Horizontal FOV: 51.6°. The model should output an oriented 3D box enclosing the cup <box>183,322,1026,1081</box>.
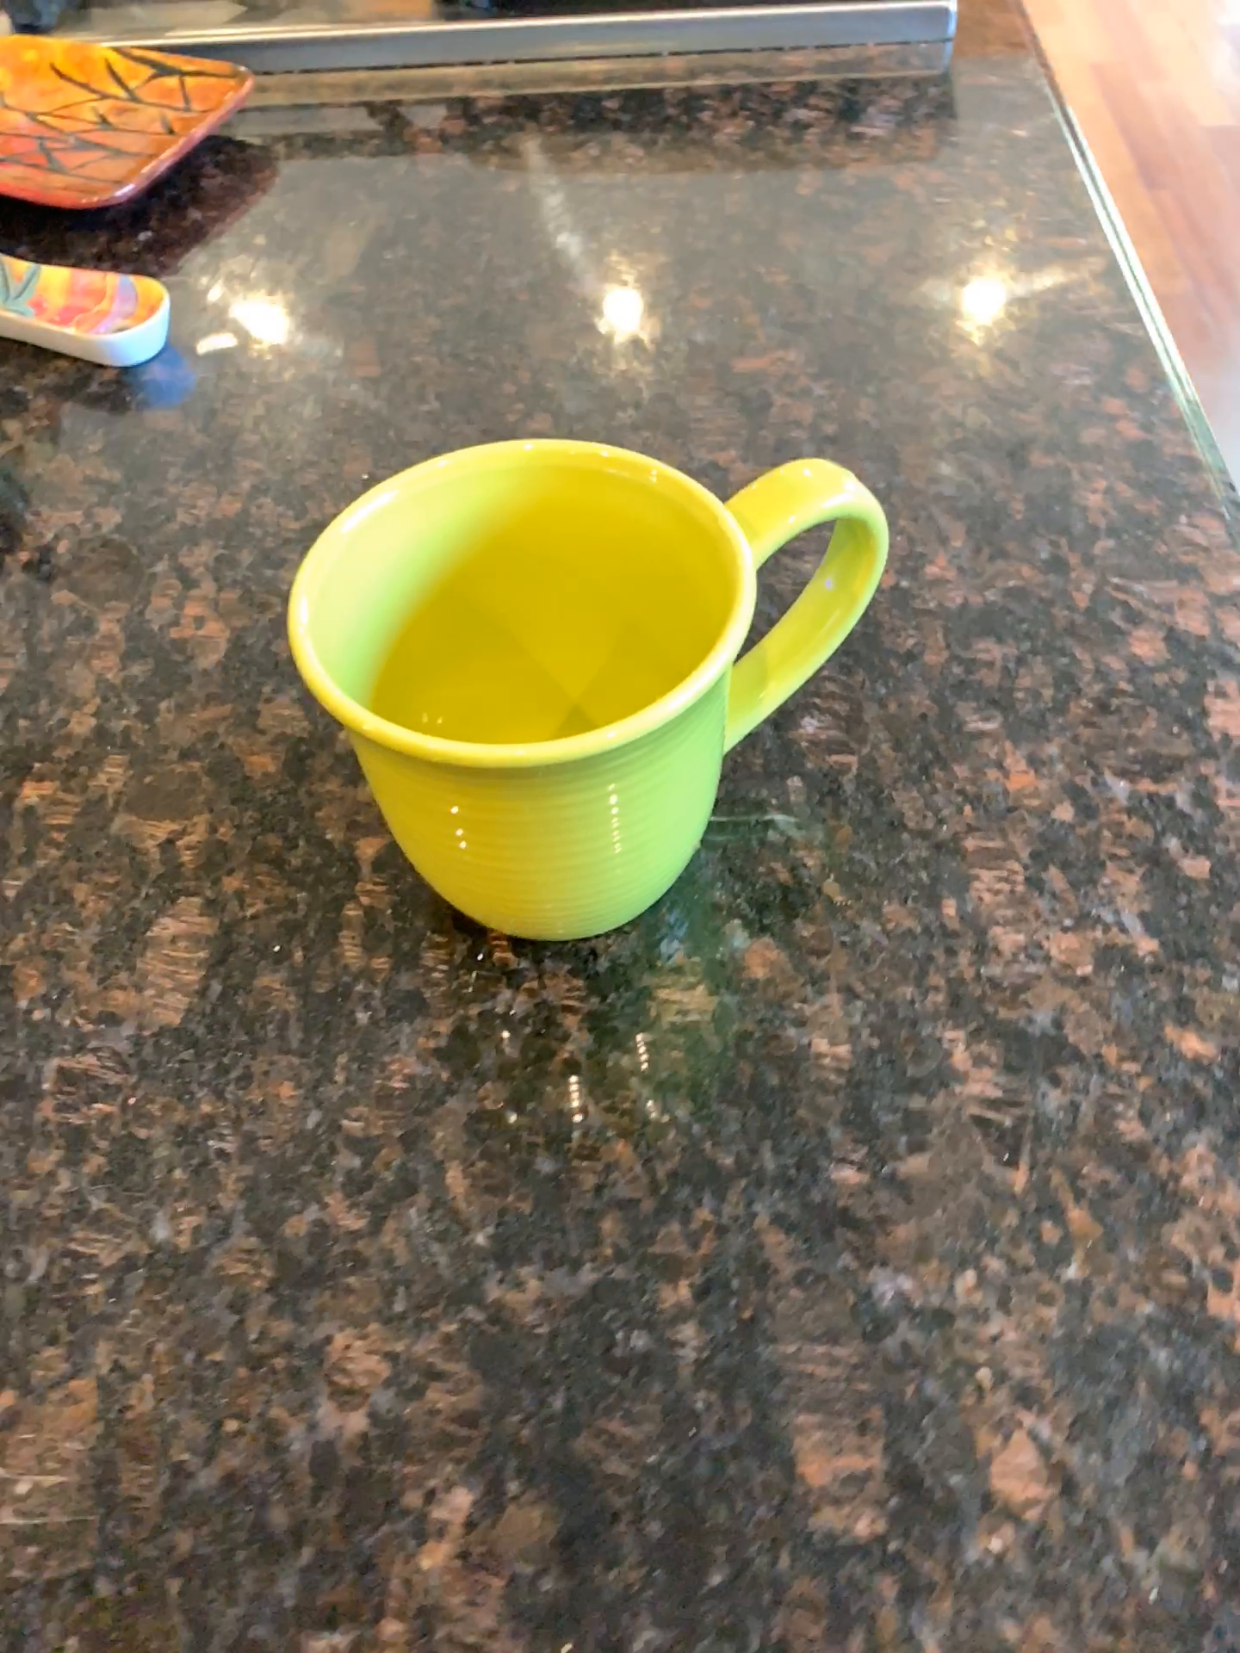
[{"bbox_3d":[-0.003,-0.037,0.314,0.150,0.080,0.110,-30,57,-18],"label":"cup"}]
